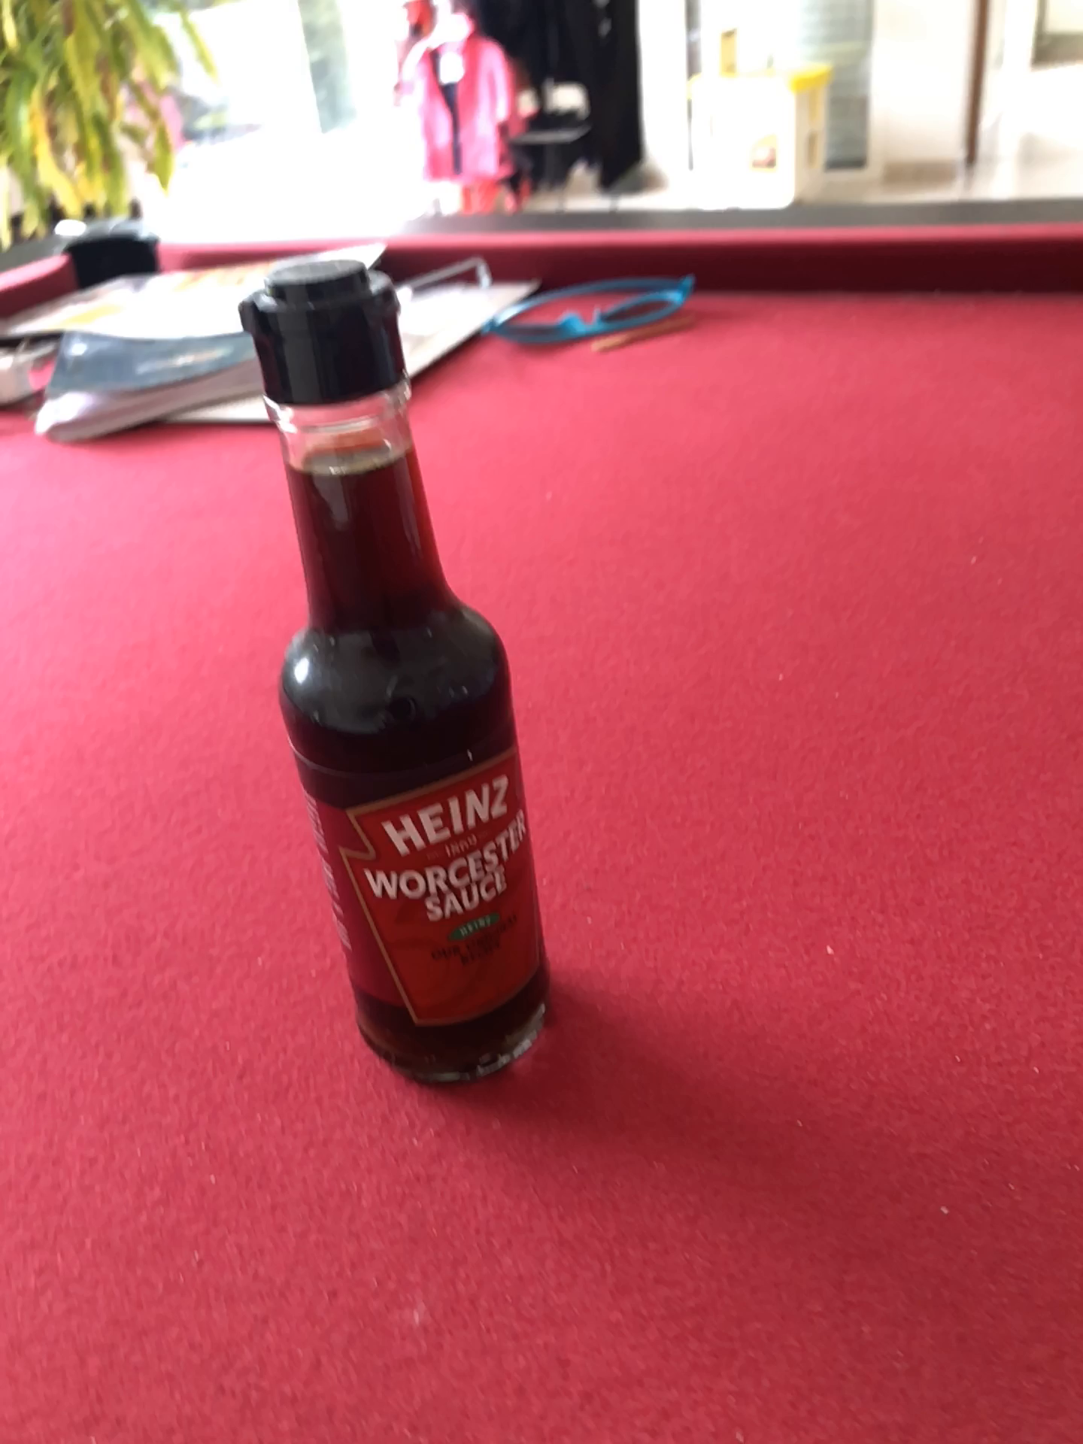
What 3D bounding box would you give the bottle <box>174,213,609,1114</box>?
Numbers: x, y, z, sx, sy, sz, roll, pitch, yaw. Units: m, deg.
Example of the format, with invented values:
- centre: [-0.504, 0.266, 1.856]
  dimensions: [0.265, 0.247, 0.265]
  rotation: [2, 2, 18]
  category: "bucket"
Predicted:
- centre: [-0.025, -0.006, 0.255]
  dimensions: [0.050, 0.179, 0.050]
  rotation: [-4, 31, 3]
  category: "bottle"
